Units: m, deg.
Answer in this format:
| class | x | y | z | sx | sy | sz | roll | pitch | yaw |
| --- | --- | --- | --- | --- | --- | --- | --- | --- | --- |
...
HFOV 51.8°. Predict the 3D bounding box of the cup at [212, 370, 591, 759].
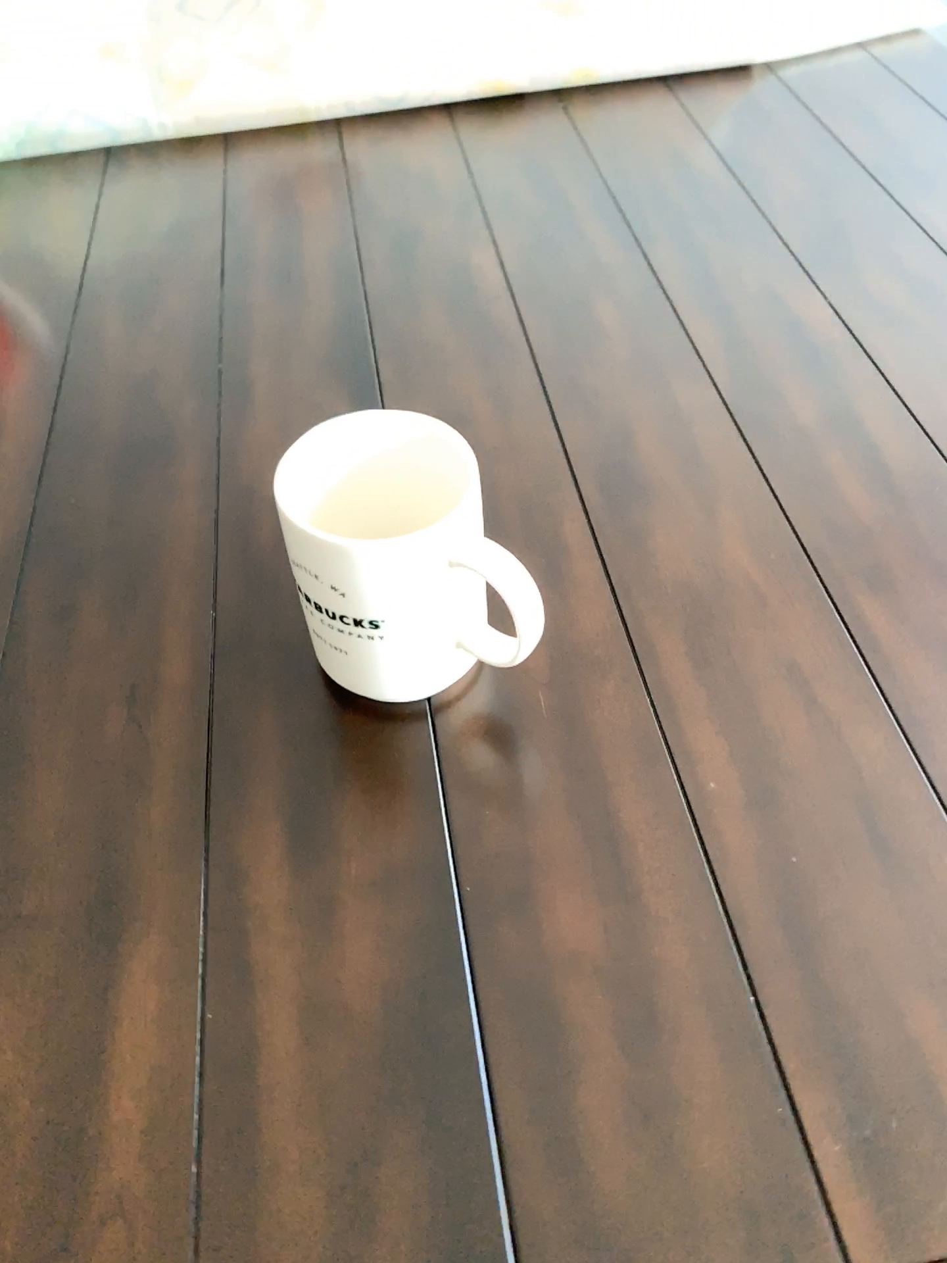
| class | x | y | z | sx | sy | sz | roll | pitch | yaw |
| --- | --- | --- | --- | --- | --- | --- | --- | --- | --- |
| cup | -0.028 | -0.031 | 0.449 | 0.130 | 0.110 | 0.090 | 24 | 56 | 19 |
